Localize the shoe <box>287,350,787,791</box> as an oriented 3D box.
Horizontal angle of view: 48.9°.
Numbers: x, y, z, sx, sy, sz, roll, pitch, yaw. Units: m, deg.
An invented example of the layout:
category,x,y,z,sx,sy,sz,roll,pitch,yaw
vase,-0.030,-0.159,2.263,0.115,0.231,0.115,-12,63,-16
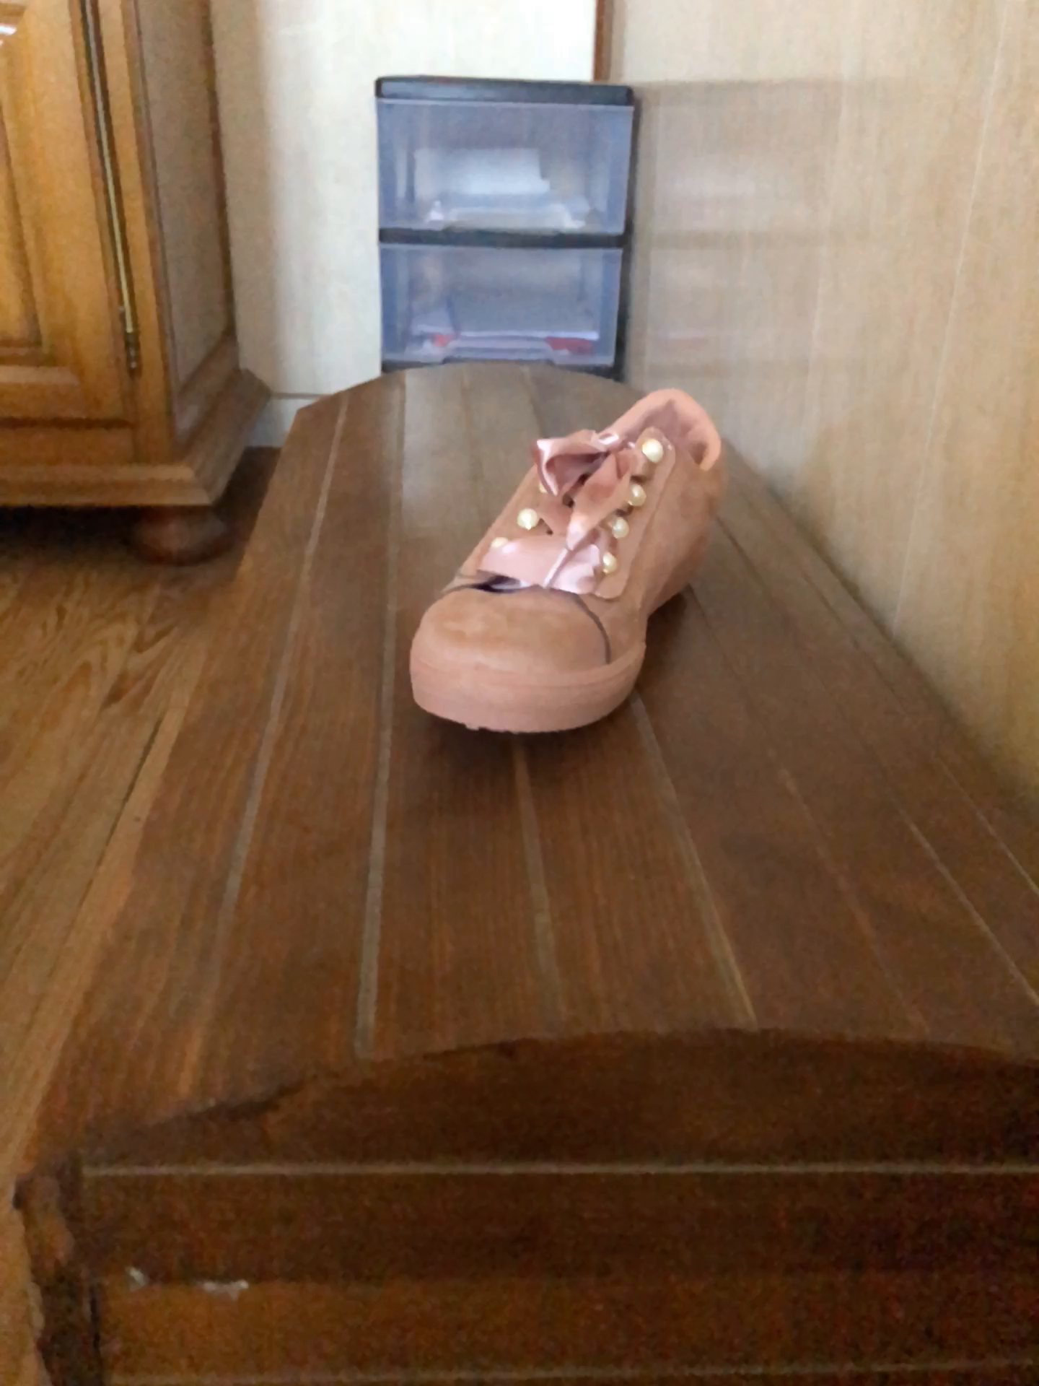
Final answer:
category,x,y,z,sx,sy,sz,roll,pitch,yaw
shoe,0.027,-0.077,0.515,0.110,0.089,0.282,13,31,22
